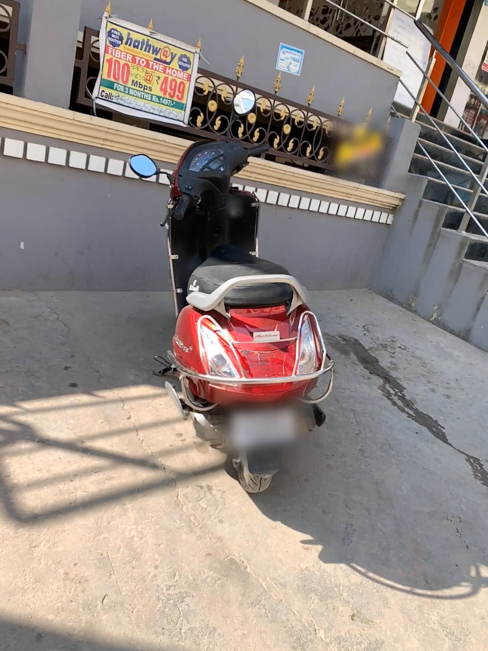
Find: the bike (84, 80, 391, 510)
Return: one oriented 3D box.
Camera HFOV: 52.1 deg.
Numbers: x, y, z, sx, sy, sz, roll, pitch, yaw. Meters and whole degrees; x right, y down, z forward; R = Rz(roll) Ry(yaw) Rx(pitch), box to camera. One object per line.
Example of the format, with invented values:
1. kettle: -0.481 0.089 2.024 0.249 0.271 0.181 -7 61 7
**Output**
1. bike: -0.282 -0.343 2.204 0.623 1.164 1.761 7 22 -21
